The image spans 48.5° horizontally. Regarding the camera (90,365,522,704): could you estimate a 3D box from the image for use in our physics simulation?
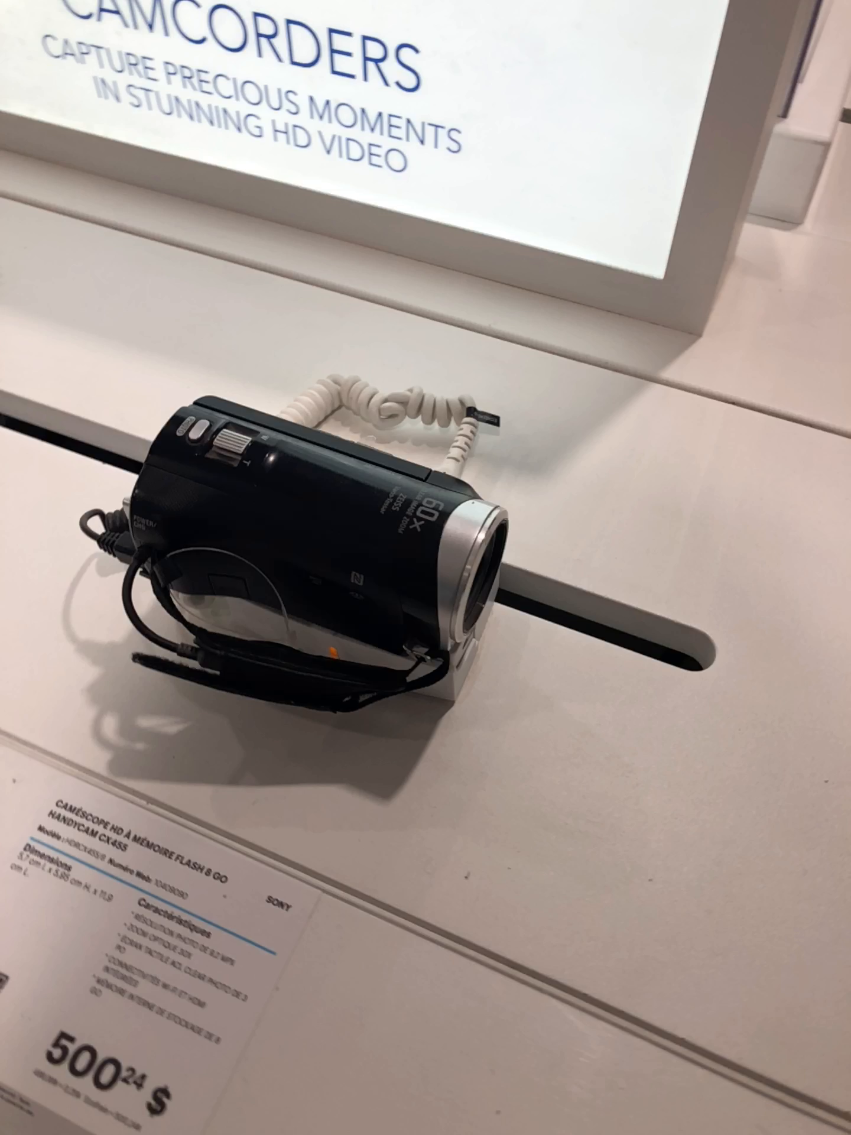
[{"bbox_3d":[-0.036,-0.012,0.315,0.121,0.058,0.057,18,55,14],"label":"camera"}]
